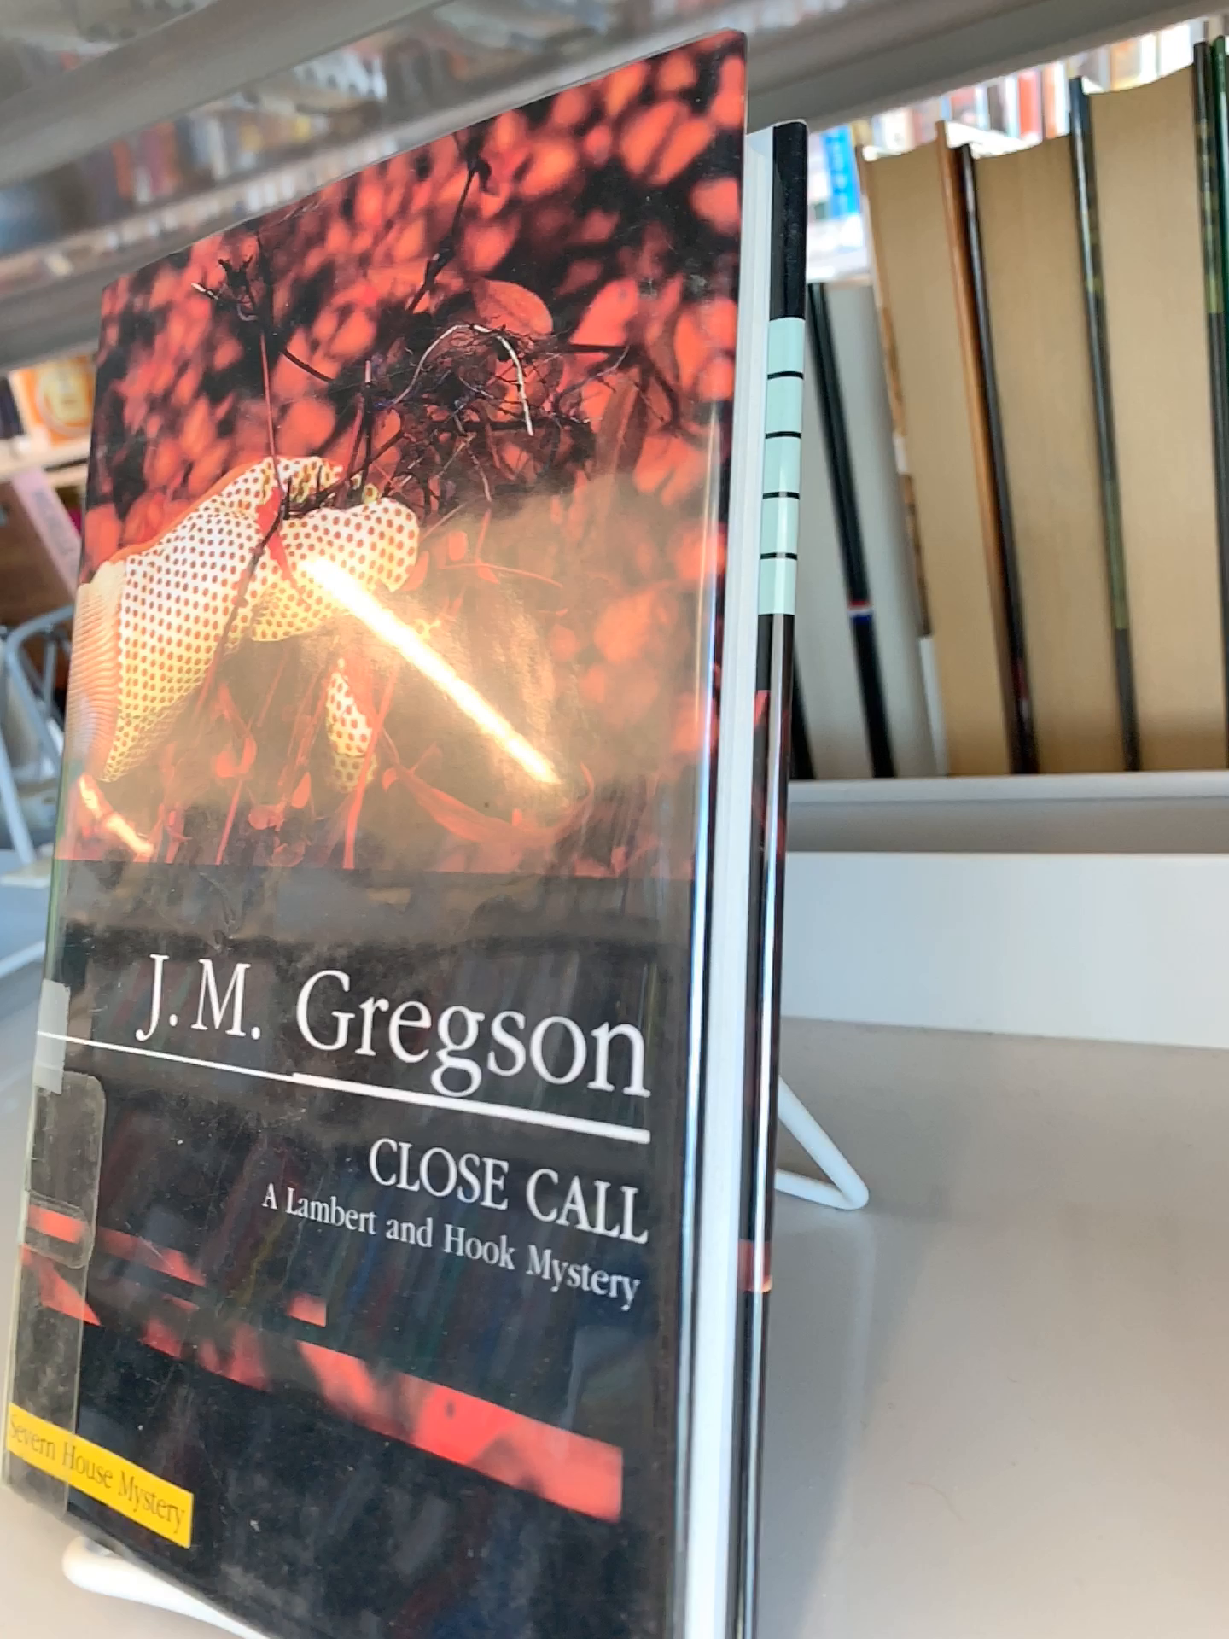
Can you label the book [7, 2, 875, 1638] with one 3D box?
[{"bbox_3d":[-0.034,0.008,0.197,0.140,0.208,0.030,0,-4,36],"label":"book"}]
